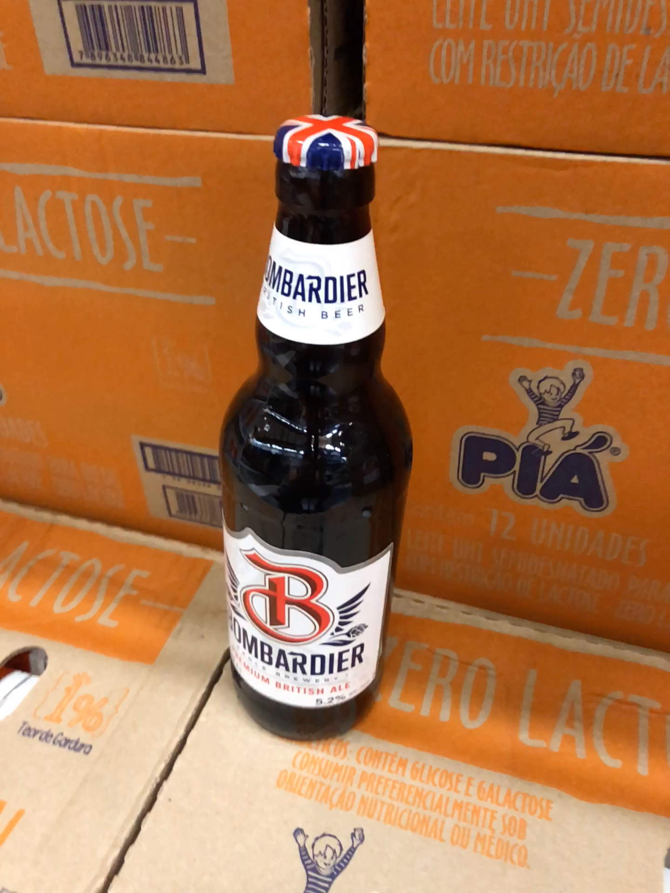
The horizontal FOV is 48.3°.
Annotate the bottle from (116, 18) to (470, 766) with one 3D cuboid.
[{"bbox_3d":[-0.009,0.003,0.262,0.070,0.258,0.060,13,38,16],"label":"bottle"}]
